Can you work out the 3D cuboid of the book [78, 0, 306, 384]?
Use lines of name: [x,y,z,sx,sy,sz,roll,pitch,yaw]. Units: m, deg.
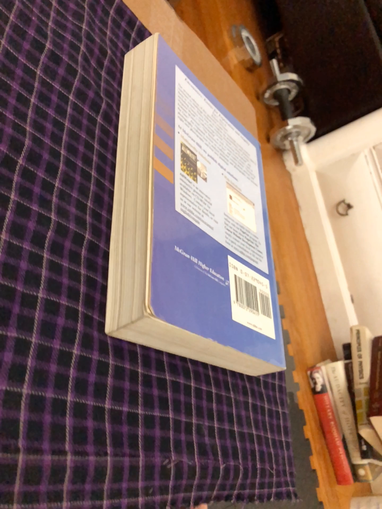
book: [0.011,-0.039,0.323,0.181,0.040,0.241,29,49,-45]
